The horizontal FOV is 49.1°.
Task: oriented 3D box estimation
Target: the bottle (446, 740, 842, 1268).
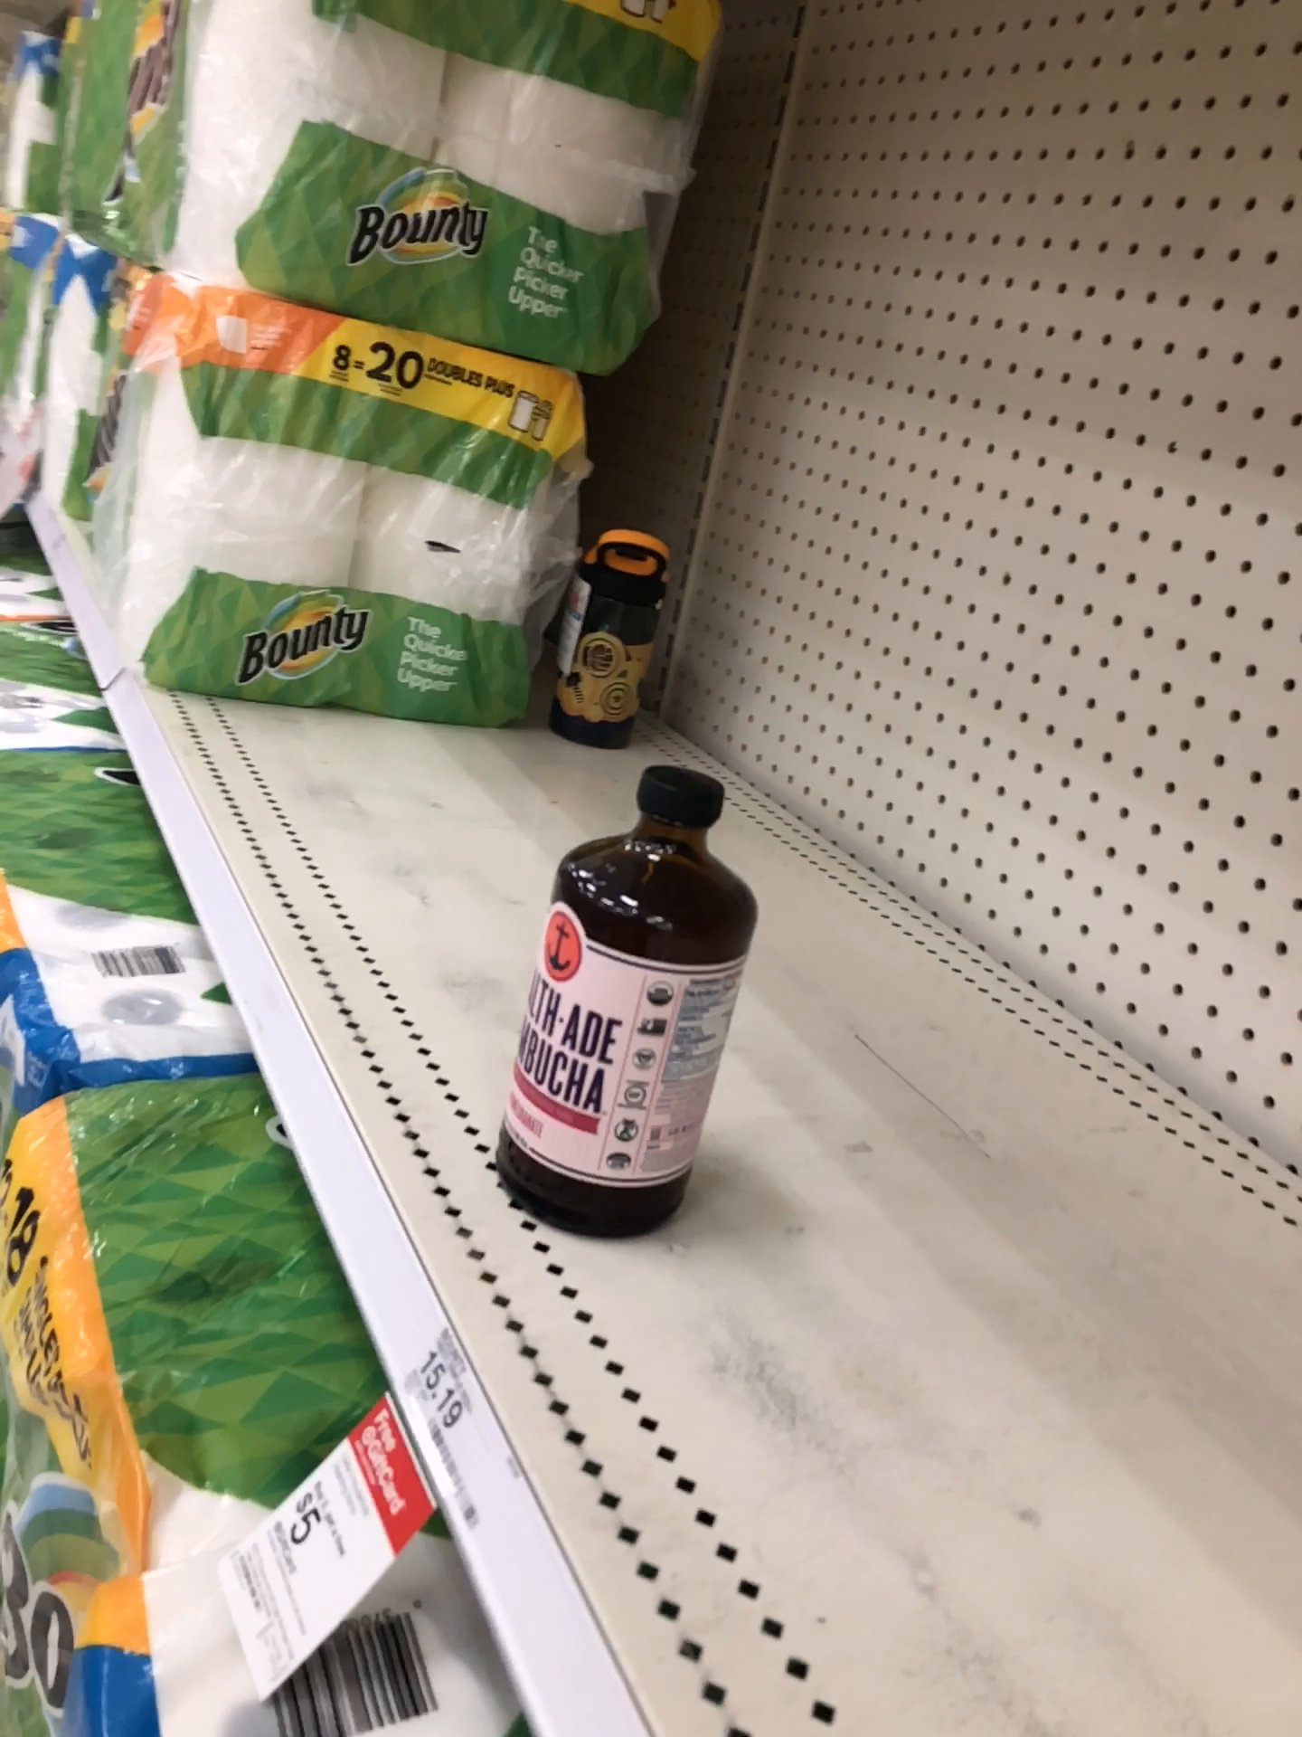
[{"bbox_3d":[-0.008,0.047,0.541,0.089,0.169,0.087,10,20,-4],"label":"bottle"}]
